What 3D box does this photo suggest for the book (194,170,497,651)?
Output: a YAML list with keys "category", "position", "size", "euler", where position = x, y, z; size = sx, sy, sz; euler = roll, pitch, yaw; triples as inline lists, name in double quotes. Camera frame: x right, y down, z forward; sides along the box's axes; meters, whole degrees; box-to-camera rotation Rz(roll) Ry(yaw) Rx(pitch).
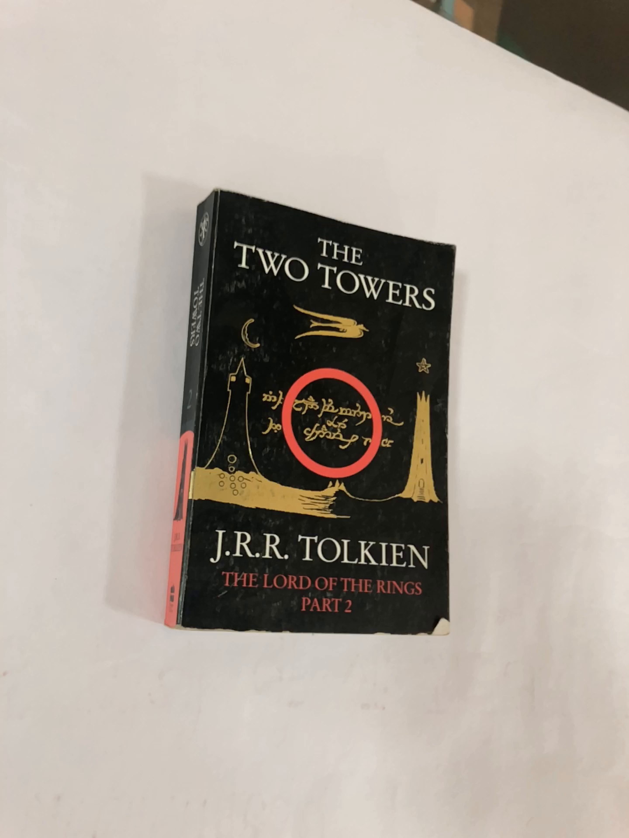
- category: "book"
  position: [0.019, 0.000, 0.324]
  size: [0.130, 0.030, 0.200]
  euler: [9, 74, -25]
